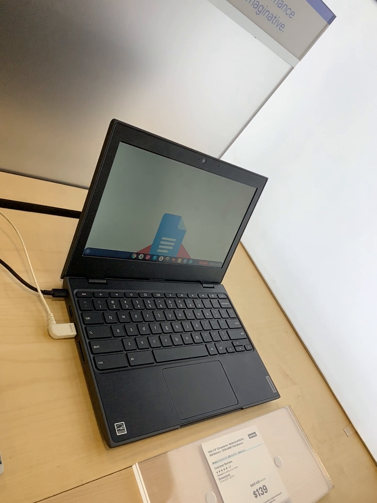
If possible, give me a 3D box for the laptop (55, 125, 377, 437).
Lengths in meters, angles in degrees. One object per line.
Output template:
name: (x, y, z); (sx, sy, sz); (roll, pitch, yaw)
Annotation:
laptop: (0.027, 0.031, 0.485); (0.276, 0.170, 0.266); (7, 46, -42)
